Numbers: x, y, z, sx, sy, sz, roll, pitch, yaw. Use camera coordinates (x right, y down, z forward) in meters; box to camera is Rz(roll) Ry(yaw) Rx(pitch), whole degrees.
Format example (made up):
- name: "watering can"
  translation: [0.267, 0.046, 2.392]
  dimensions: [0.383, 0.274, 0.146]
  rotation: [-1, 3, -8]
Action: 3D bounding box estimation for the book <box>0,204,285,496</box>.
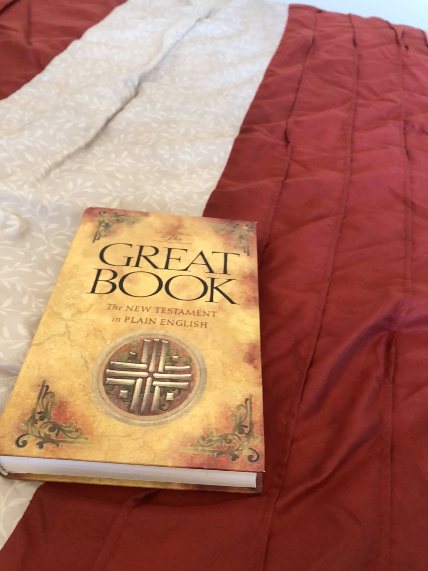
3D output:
- name: "book"
  translation: [-0.038, 0.028, 0.347]
  dimensions: [0.161, 0.040, 0.221]
  rotation: [4, 46, 0]
